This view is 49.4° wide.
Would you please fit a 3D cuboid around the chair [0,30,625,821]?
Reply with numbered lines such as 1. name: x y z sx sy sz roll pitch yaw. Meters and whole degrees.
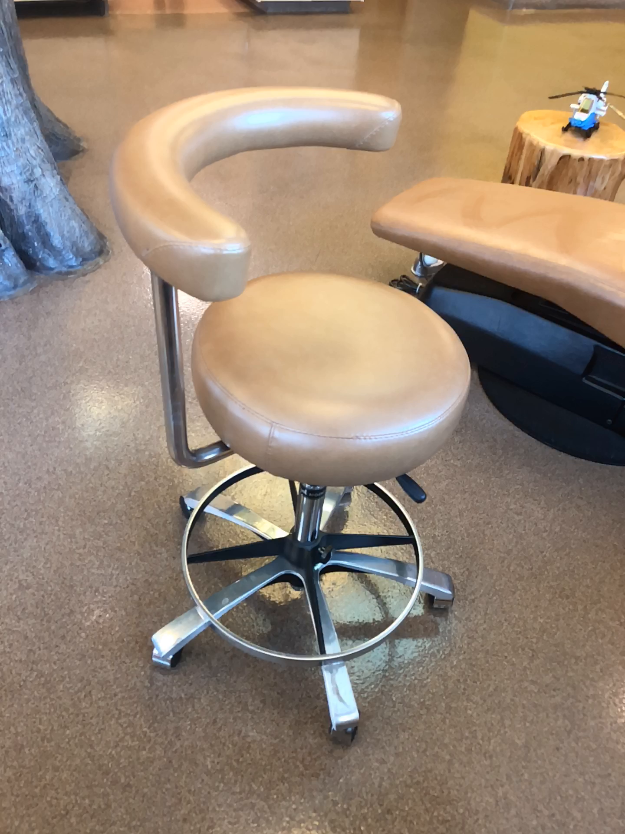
1. chair: 0.009 0.003 0.995 0.591 0.805 0.613 21 44 15
